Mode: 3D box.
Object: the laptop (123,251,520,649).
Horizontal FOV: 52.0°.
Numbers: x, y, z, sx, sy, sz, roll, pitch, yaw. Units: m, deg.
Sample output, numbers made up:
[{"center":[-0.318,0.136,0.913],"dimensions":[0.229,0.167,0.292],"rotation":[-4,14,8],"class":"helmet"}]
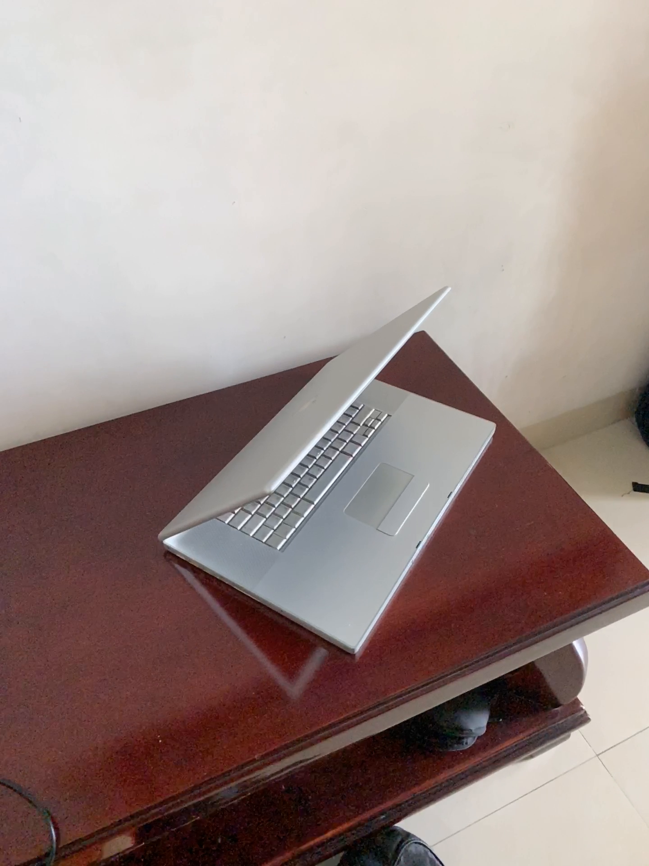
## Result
[{"center":[0.022,-0.012,0.795],"dimensions":[0.265,0.193,0.401],"rotation":[23,48,22],"class":"laptop"}]
